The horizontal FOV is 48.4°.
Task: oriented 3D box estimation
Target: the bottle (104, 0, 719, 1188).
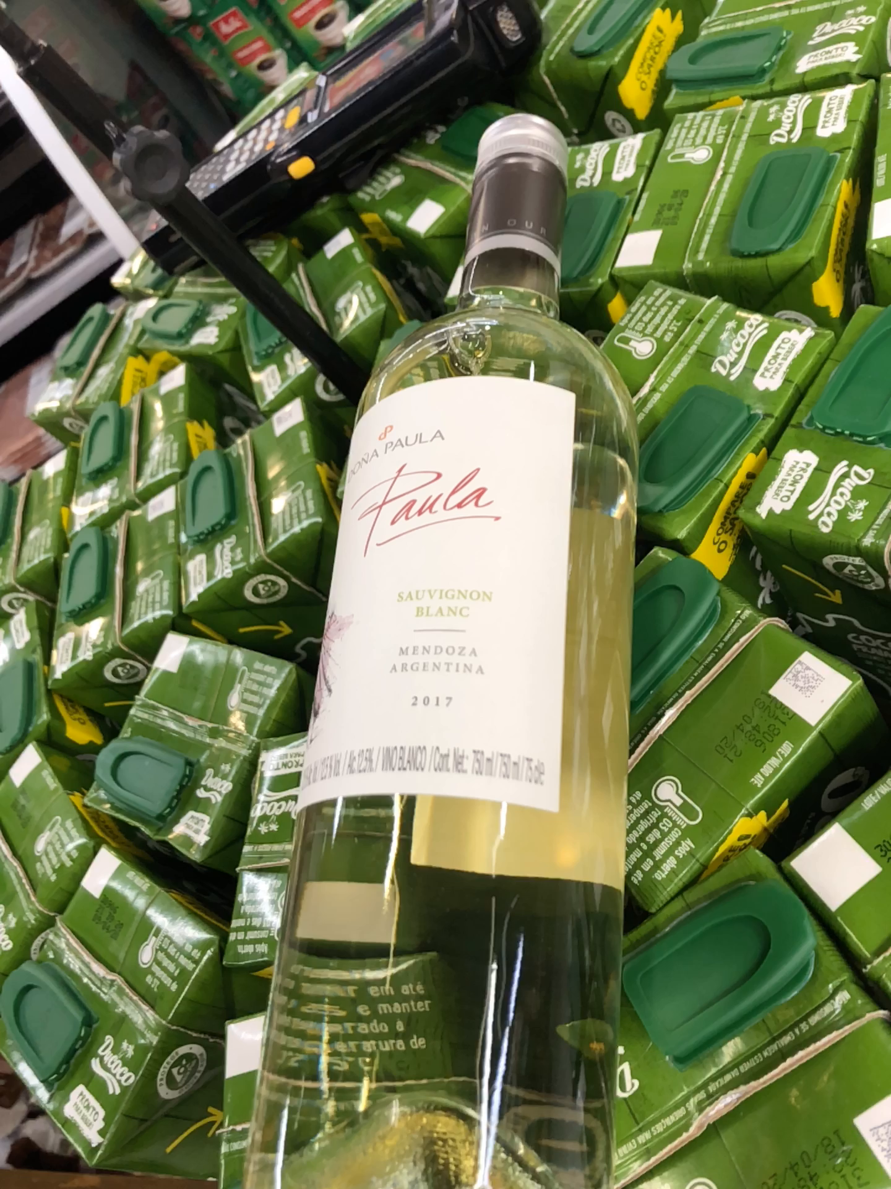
[{"bbox_3d":[0.015,-0.034,0.249,0.080,0.070,0.331,-12,55,31],"label":"bottle"}]
